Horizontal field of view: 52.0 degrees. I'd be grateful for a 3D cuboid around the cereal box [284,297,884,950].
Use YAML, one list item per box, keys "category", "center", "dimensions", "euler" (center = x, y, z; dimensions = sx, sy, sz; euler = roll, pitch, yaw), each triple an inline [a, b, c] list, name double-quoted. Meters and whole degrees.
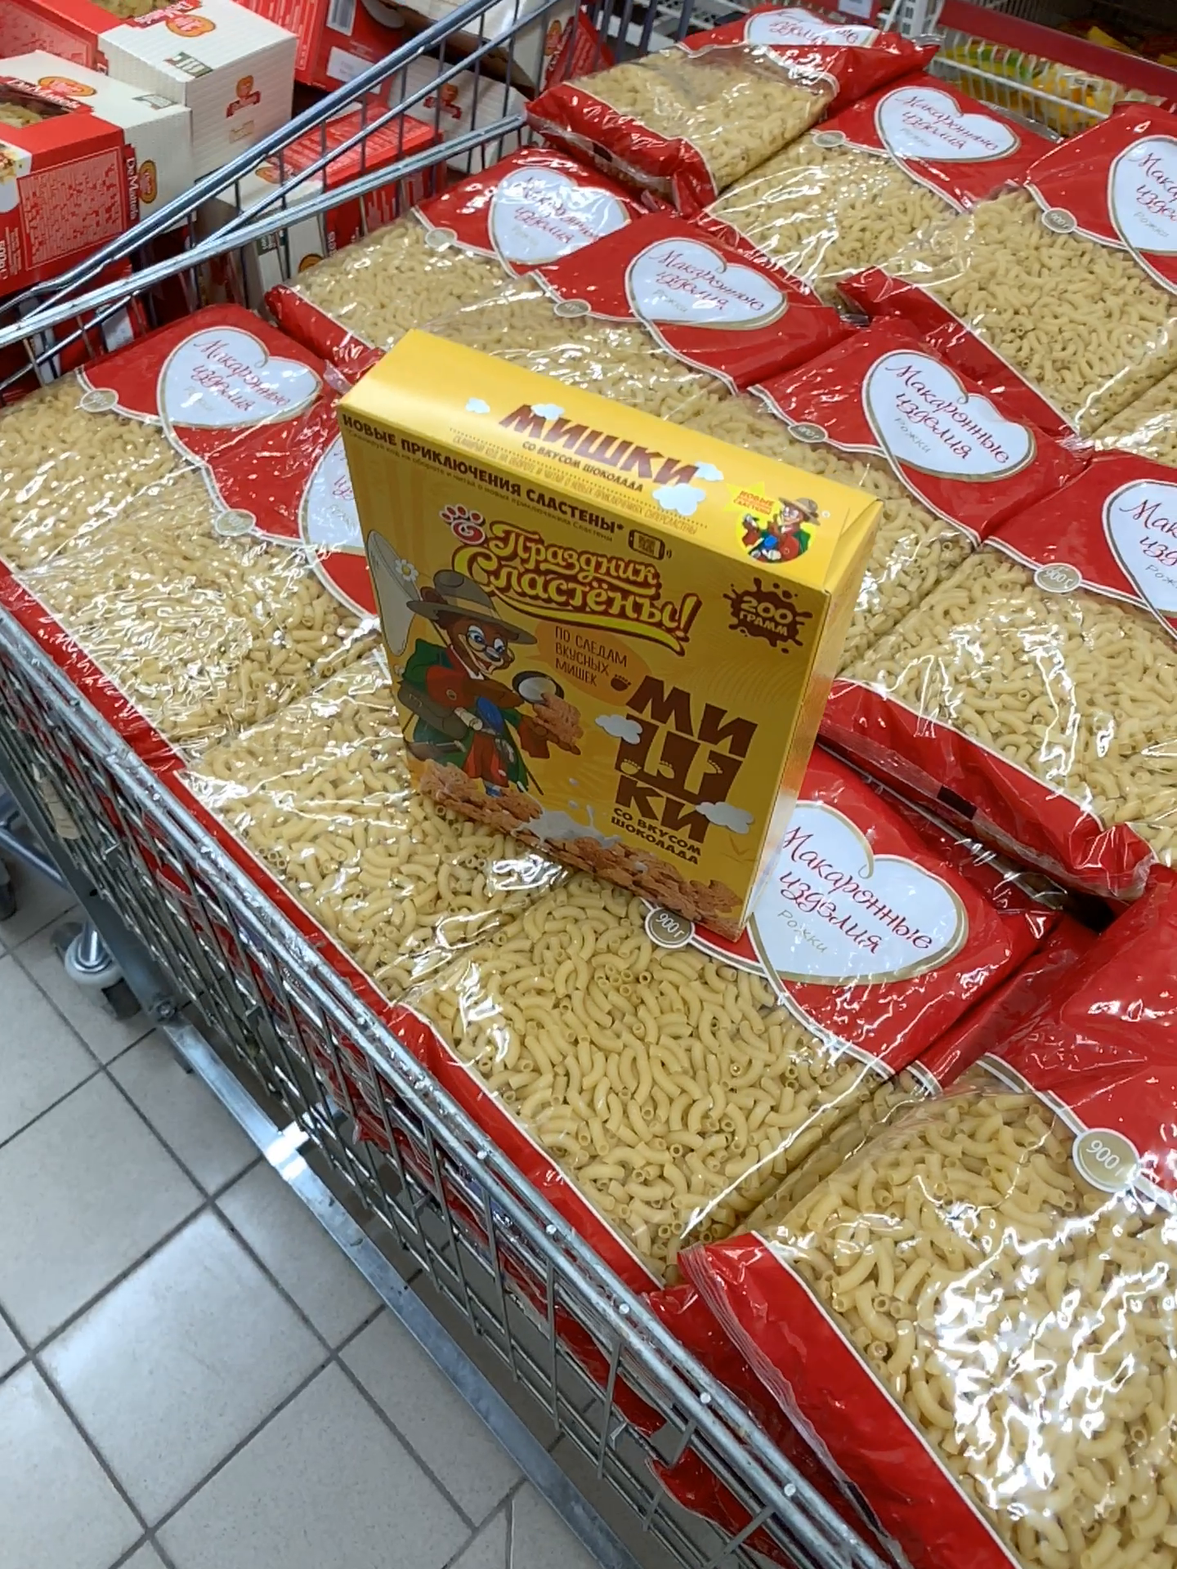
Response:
- category: "cereal box"
  center: [-0.002, -0.043, 0.439]
  dimensions: [0.170, 0.218, 0.050]
  euler: [25, 61, 16]
